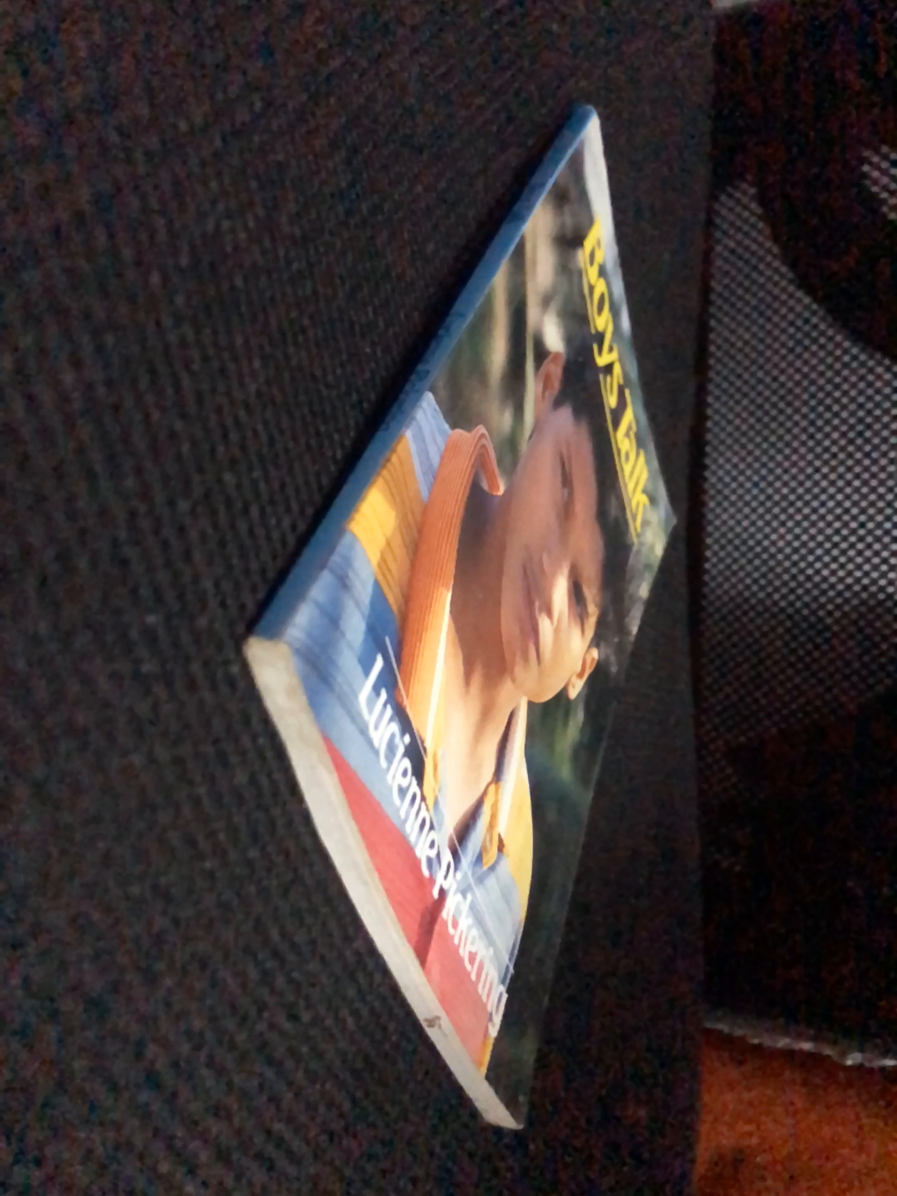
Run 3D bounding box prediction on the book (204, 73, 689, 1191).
[{"bbox_3d":[0.025,-0.008,0.204,0.191,0.010,0.130,-66,148,-44],"label":"book"}]
